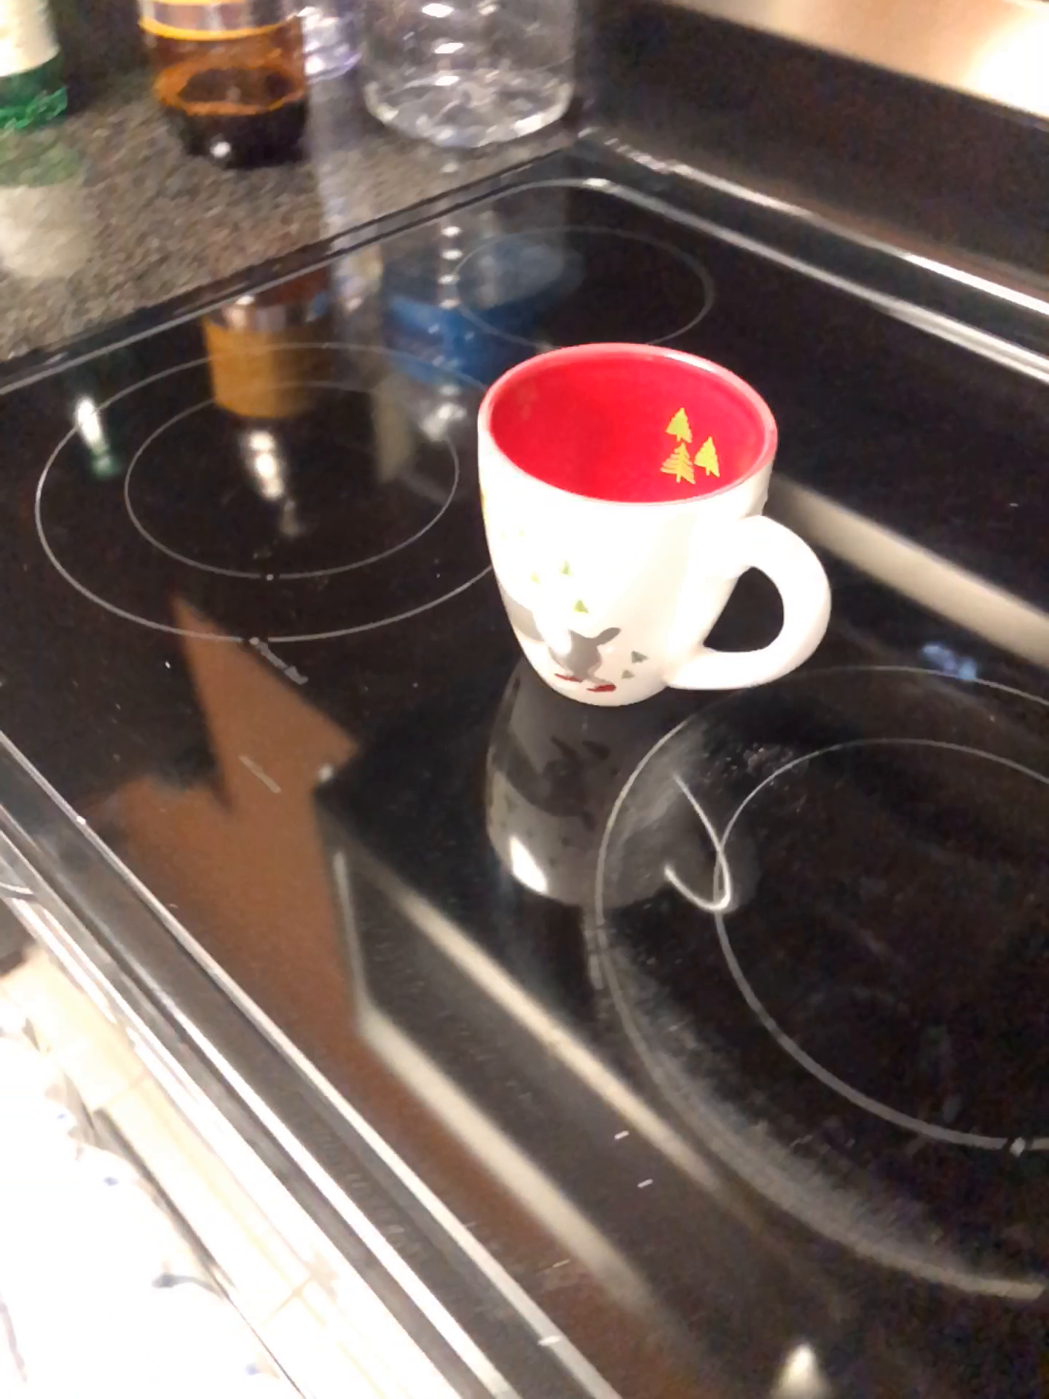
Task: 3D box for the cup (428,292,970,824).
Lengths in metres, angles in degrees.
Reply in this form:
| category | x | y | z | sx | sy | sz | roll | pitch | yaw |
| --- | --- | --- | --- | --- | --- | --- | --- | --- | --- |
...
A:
| category | x | y | z | sx | sy | sz | roll | pitch | yaw |
| --- | --- | --- | --- | --- | --- | --- | --- | --- | --- |
| cup | 0.053 | -0.055 | 0.407 | 0.140 | 0.100 | 0.100 | 35 | 54 | 28 |
